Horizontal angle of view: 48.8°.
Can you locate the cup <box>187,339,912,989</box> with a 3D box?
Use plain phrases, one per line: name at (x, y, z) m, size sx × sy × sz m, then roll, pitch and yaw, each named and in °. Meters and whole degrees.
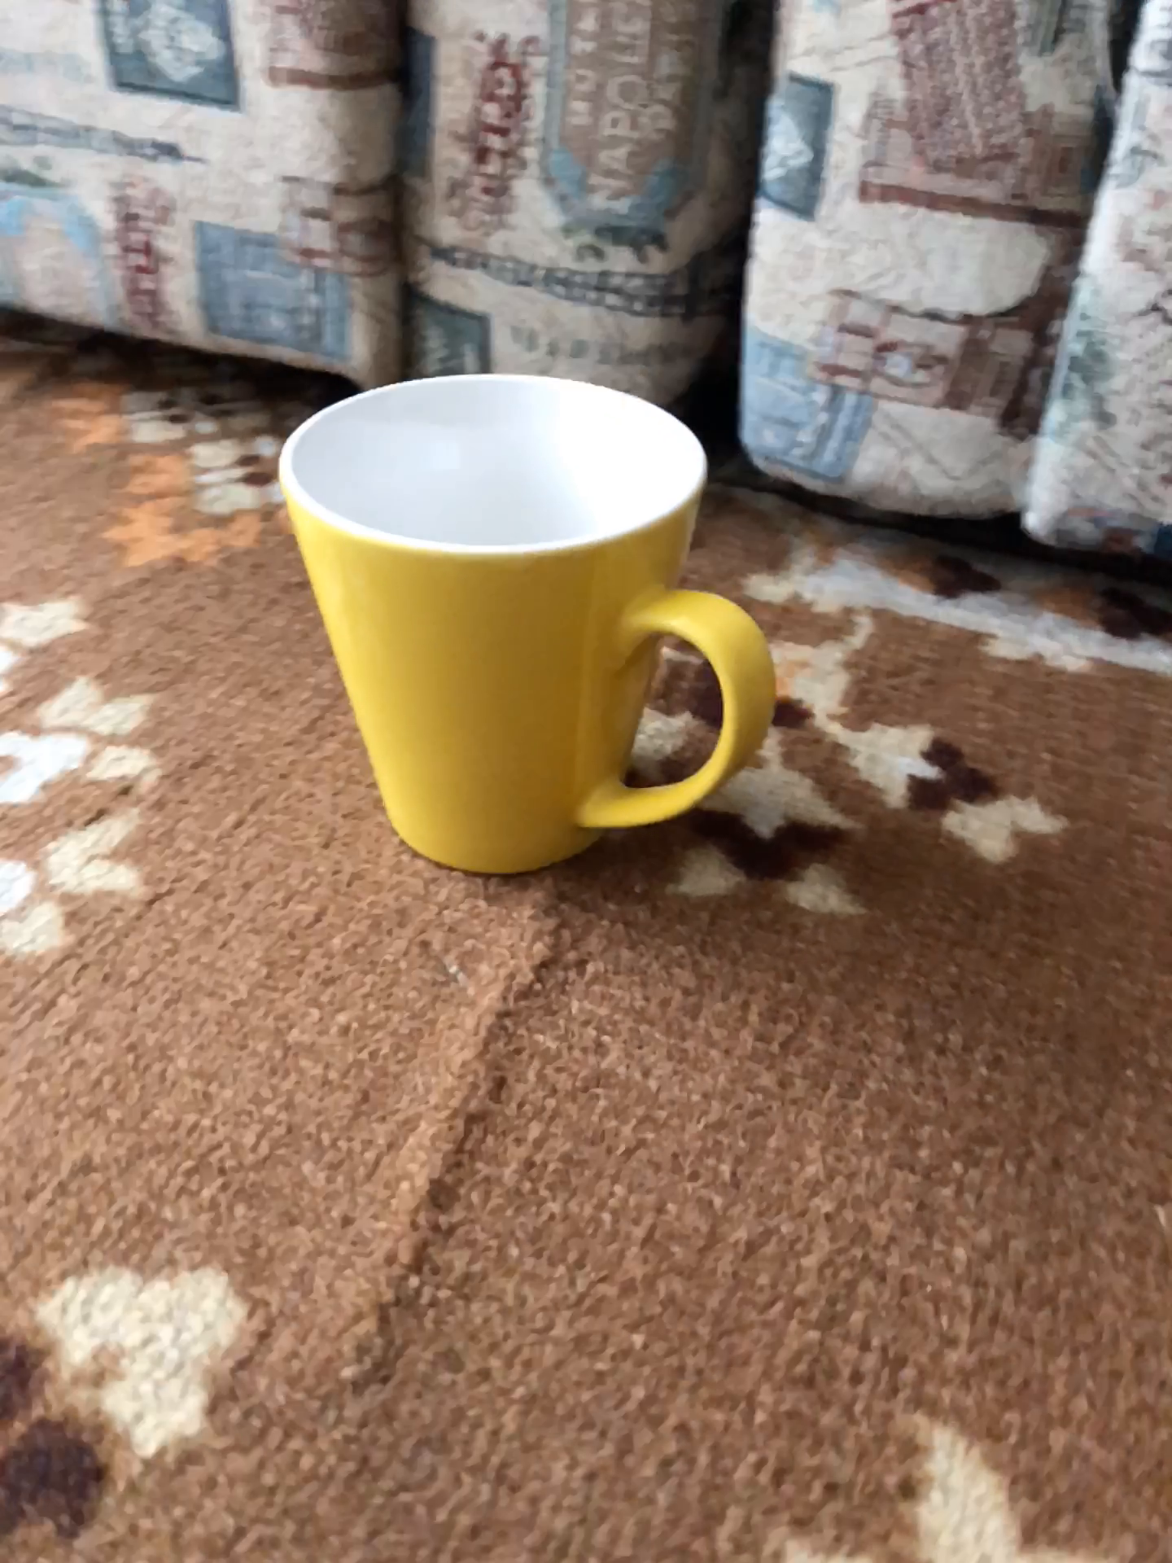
cup at (-0.006, -0.036, 0.304) m, size 0.125 × 0.088 × 0.098 m, roll 19°, pitch 39°, yaw 21°
